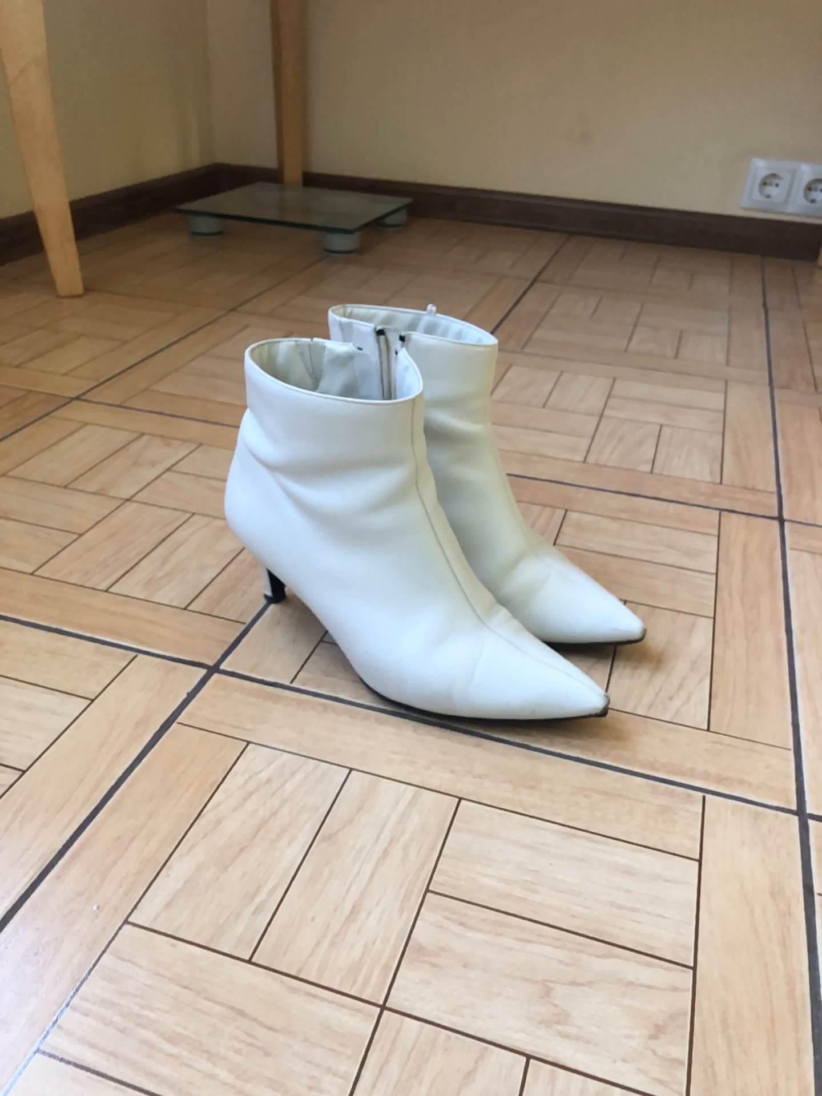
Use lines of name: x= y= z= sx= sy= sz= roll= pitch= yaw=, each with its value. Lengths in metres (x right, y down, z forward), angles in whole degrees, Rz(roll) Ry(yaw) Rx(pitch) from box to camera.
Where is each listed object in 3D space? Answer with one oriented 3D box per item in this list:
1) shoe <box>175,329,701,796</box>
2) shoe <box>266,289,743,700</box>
shoe: x=0.003 y=-0.007 z=0.502 sx=0.254 sy=0.154 sz=0.100 roll=21 pitch=35 yaw=29
shoe: x=0.041 y=-0.049 z=0.577 sx=0.274 sy=0.154 sz=0.100 roll=25 pitch=37 yaw=33
